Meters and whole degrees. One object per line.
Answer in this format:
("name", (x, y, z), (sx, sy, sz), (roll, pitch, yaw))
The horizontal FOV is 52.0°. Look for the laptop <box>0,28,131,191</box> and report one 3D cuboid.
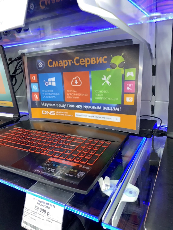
("laptop", (-0.125, -0.049, 0.465), (0.405, 0.237, 0.287), (4, 19, 29))
